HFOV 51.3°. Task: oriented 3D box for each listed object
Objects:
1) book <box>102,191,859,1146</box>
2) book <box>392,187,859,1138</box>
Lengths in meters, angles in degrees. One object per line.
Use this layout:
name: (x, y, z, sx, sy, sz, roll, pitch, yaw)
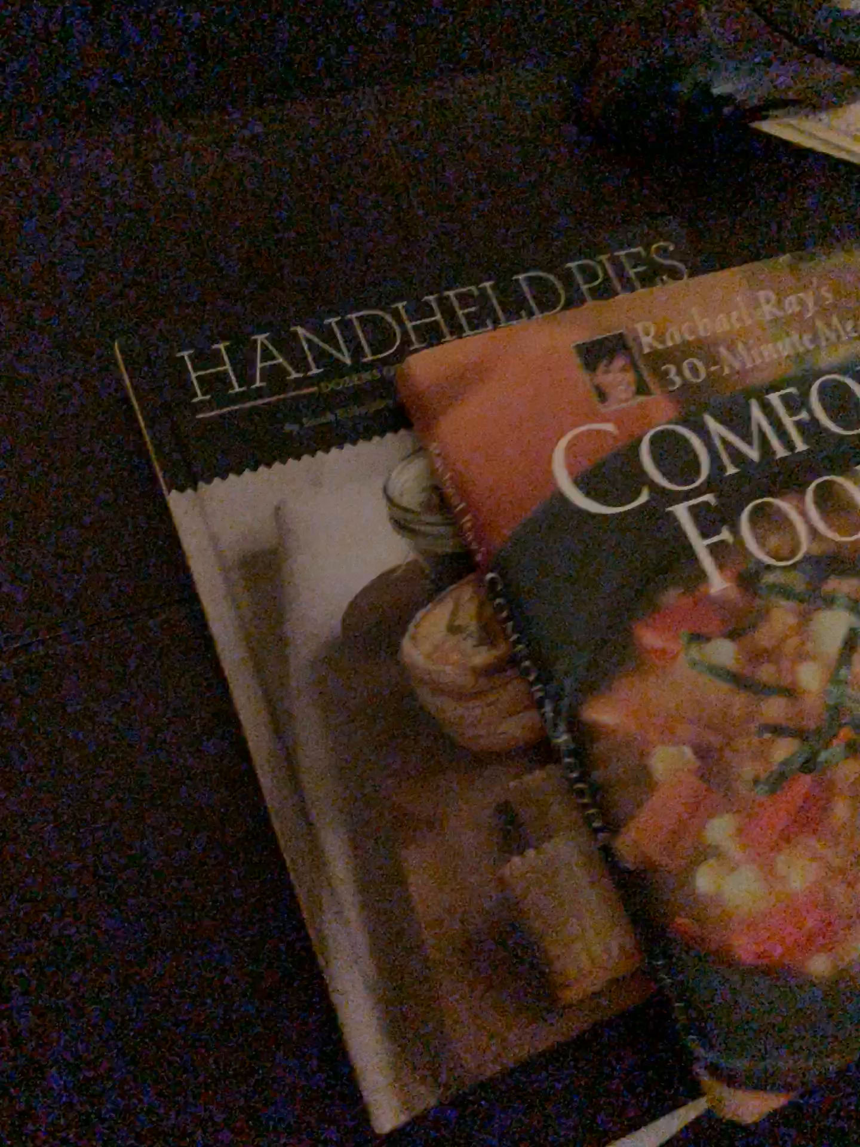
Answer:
book: (0.030, 0.001, 0.254, 0.180, 0.020, 0.220, -18, 74, -15)
book: (0.121, -0.001, 0.253, 0.200, 0.020, 0.210, -19, 74, -16)
